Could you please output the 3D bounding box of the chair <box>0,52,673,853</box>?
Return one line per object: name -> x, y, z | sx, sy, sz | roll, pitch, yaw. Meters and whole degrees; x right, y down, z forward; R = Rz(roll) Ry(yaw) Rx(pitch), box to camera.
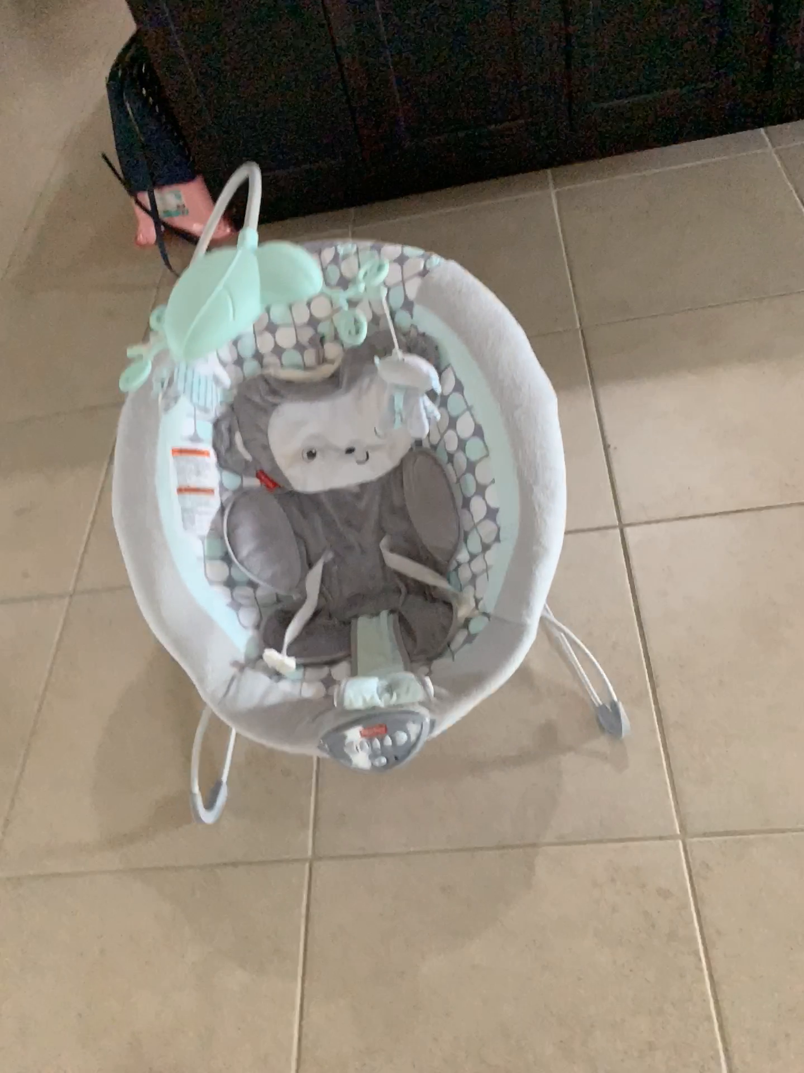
chair -> -0.079, -0.051, 0.921 | 0.571, 0.579, 0.549 | -11, 52, 7
